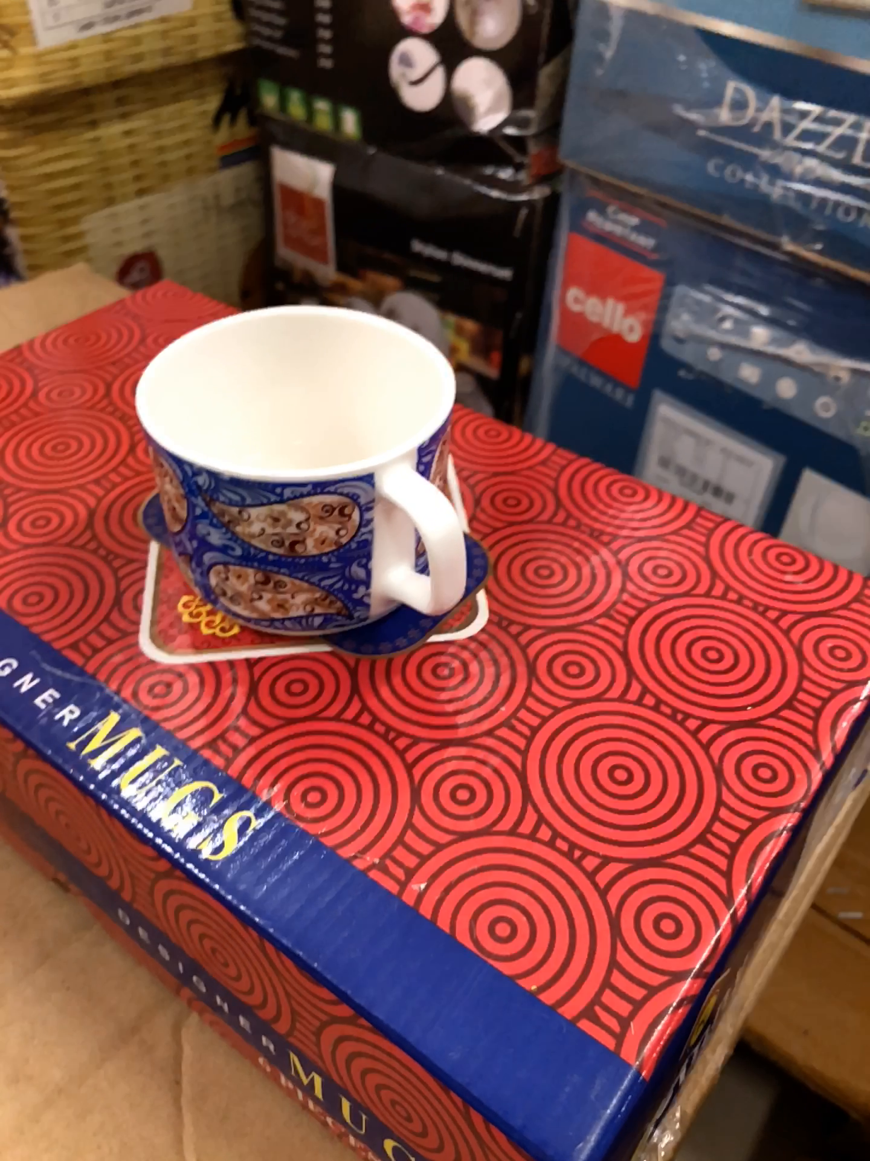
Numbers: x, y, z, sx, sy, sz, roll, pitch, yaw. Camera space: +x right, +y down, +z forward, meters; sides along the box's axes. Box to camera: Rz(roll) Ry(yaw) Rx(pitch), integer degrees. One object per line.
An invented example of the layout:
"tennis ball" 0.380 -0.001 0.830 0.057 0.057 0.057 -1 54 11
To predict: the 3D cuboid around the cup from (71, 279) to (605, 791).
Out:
"cup" -0.025 -0.017 0.236 0.070 0.060 0.100 -32 53 -33
